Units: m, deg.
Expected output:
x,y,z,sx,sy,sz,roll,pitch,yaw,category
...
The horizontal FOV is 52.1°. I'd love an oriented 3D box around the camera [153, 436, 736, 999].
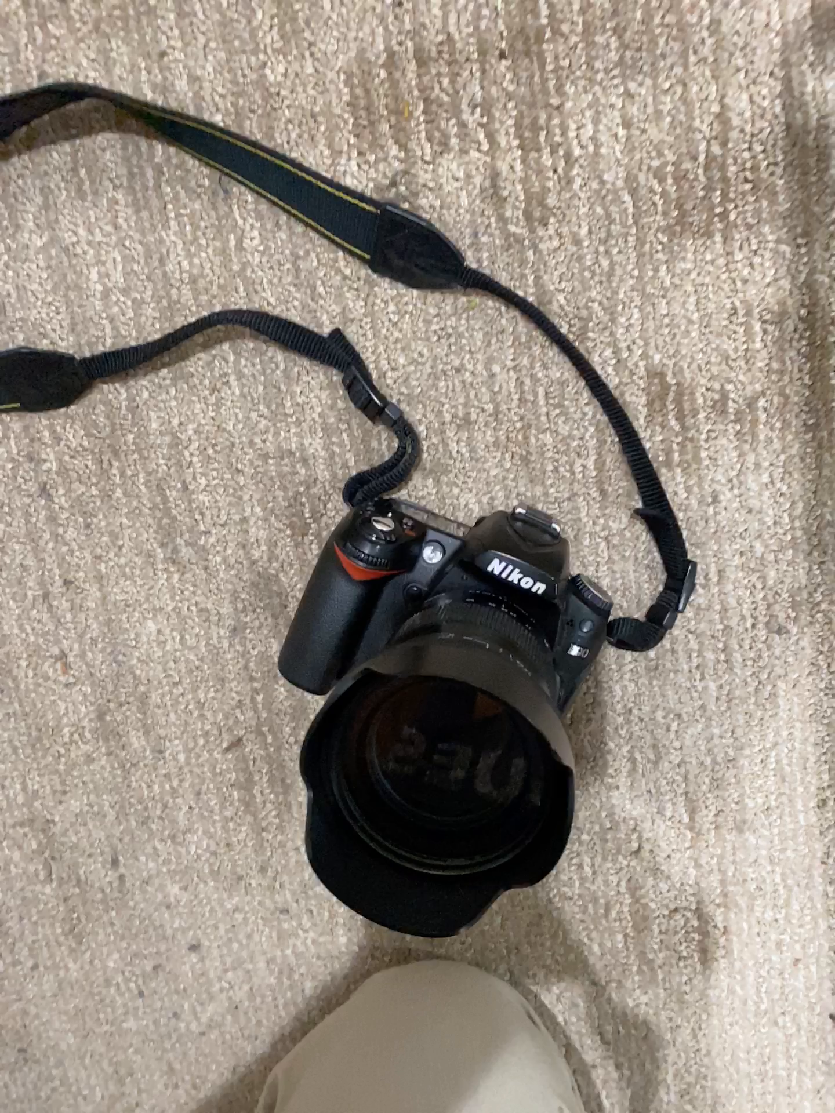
x,y,z,sx,sy,sz,roll,pitch,yaw,category
0.012,0.040,0.331,0.138,0.166,0.114,24,104,1,camera
